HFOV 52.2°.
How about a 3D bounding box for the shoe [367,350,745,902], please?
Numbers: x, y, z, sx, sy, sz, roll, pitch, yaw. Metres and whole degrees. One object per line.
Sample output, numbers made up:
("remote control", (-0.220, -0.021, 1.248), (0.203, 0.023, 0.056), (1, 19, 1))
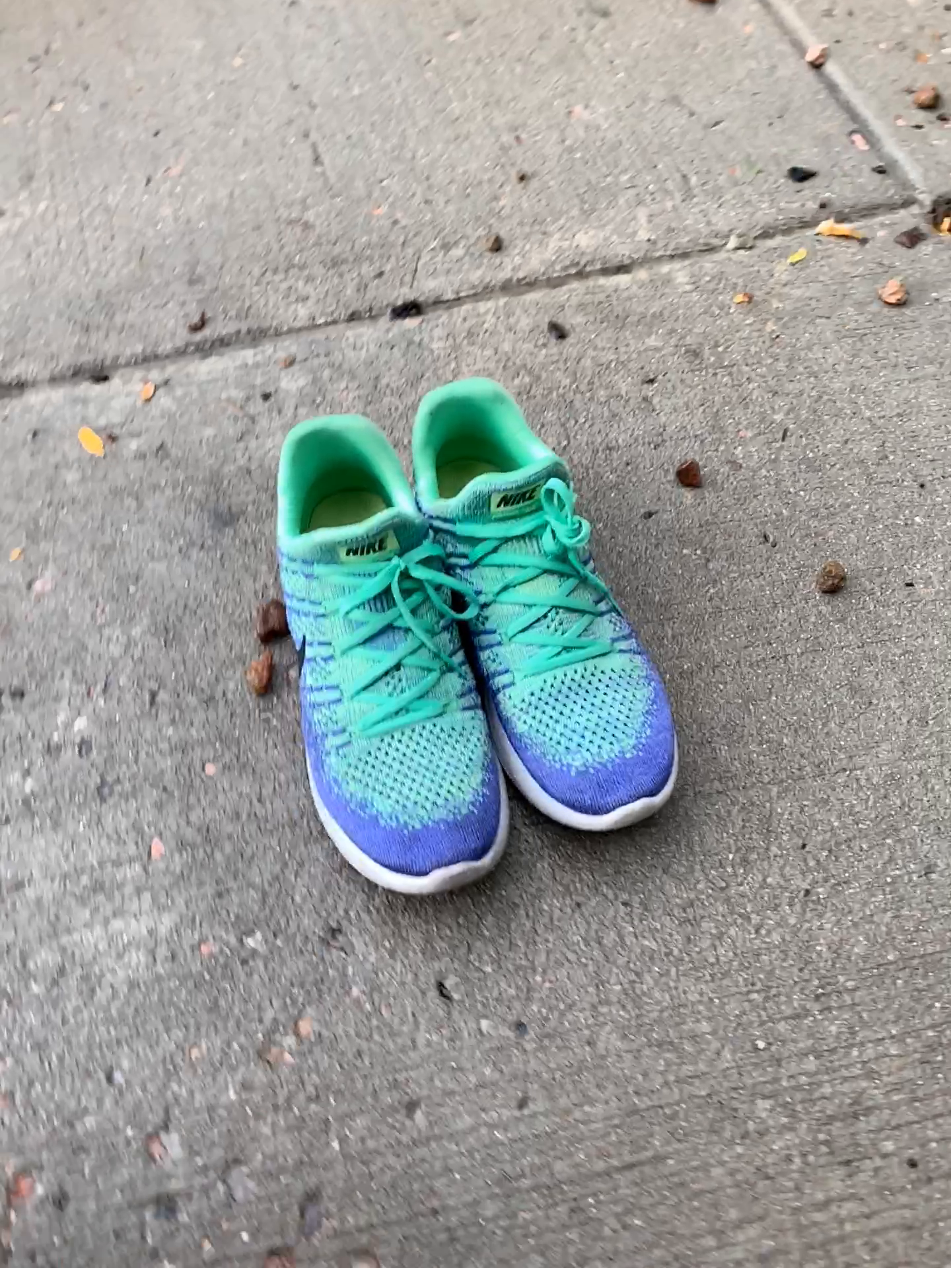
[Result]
("shoe", (0.033, -0.010, 0.578), (0.120, 0.110, 0.290), (-15, 65, -7))

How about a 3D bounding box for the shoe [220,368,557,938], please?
("shoe", (-0.056, 0.005, 0.520), (0.100, 0.110, 0.270), (-12, 65, -13))
